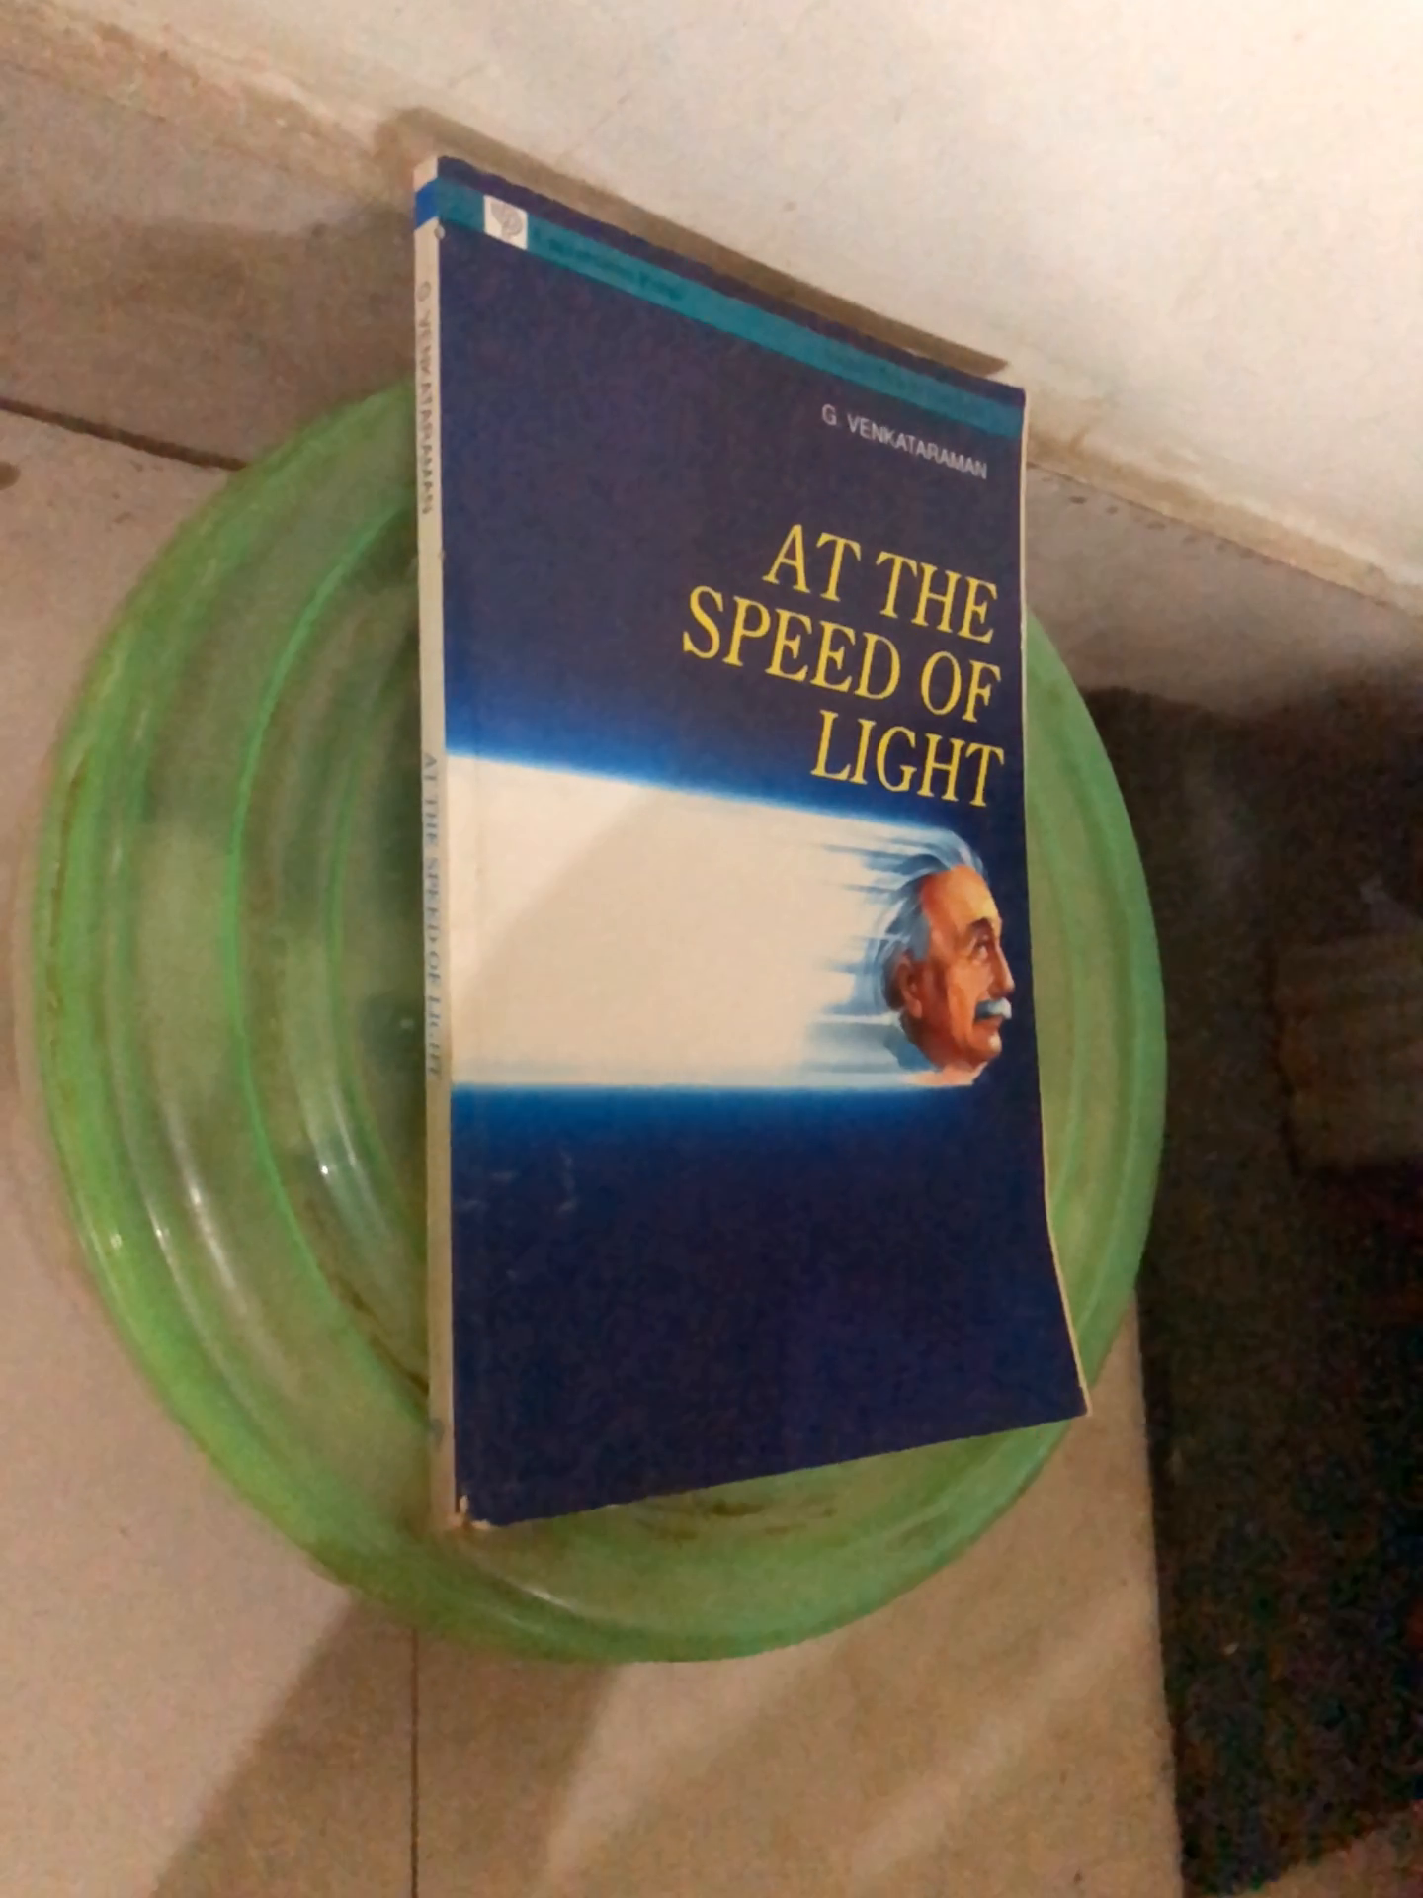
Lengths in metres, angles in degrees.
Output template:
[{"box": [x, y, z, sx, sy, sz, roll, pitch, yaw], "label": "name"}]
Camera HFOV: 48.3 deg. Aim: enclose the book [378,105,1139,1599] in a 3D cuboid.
[{"box": [0.014, -0.017, 0.293, 0.151, 0.020, 0.230, 5, 78, -38], "label": "book"}]
